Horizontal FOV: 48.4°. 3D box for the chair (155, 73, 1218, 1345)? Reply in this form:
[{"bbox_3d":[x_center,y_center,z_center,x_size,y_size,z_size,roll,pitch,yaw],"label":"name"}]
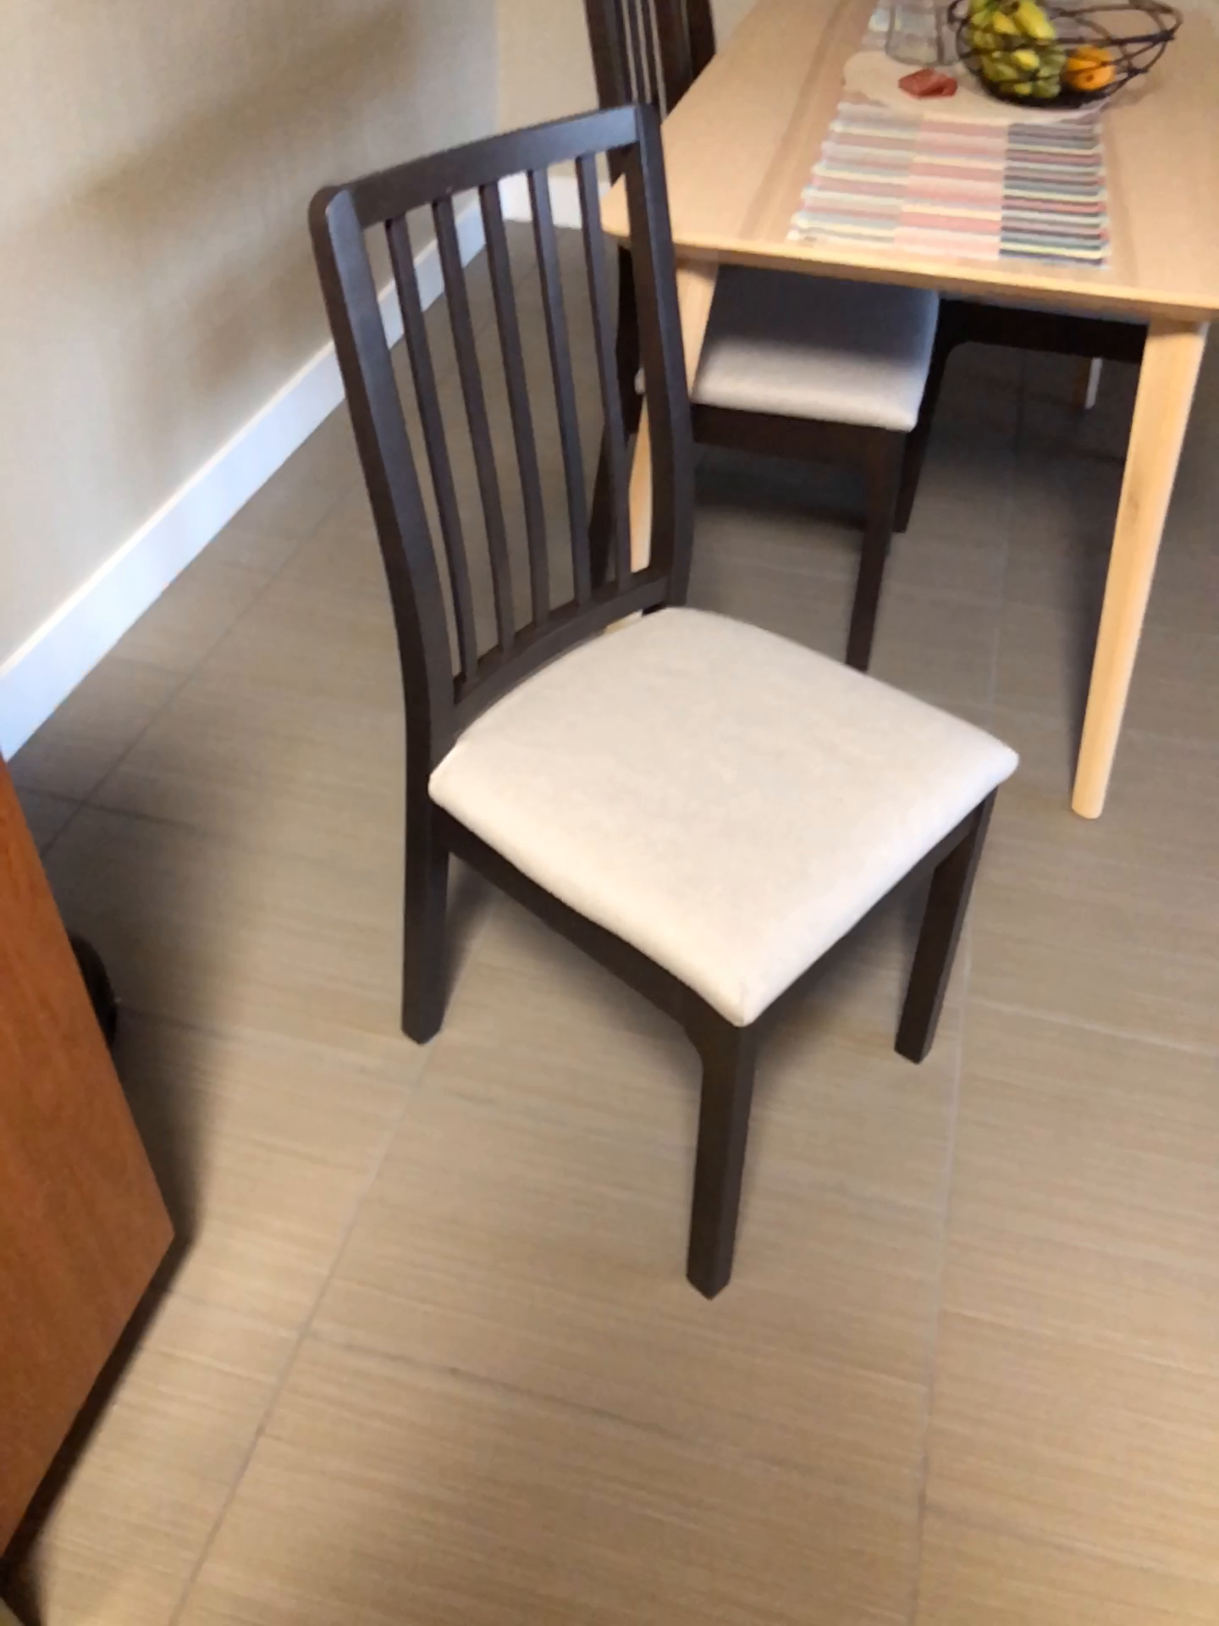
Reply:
[{"bbox_3d":[0.083,-0.111,1.259,0.591,0.846,0.582,30,49,28],"label":"chair"}]
